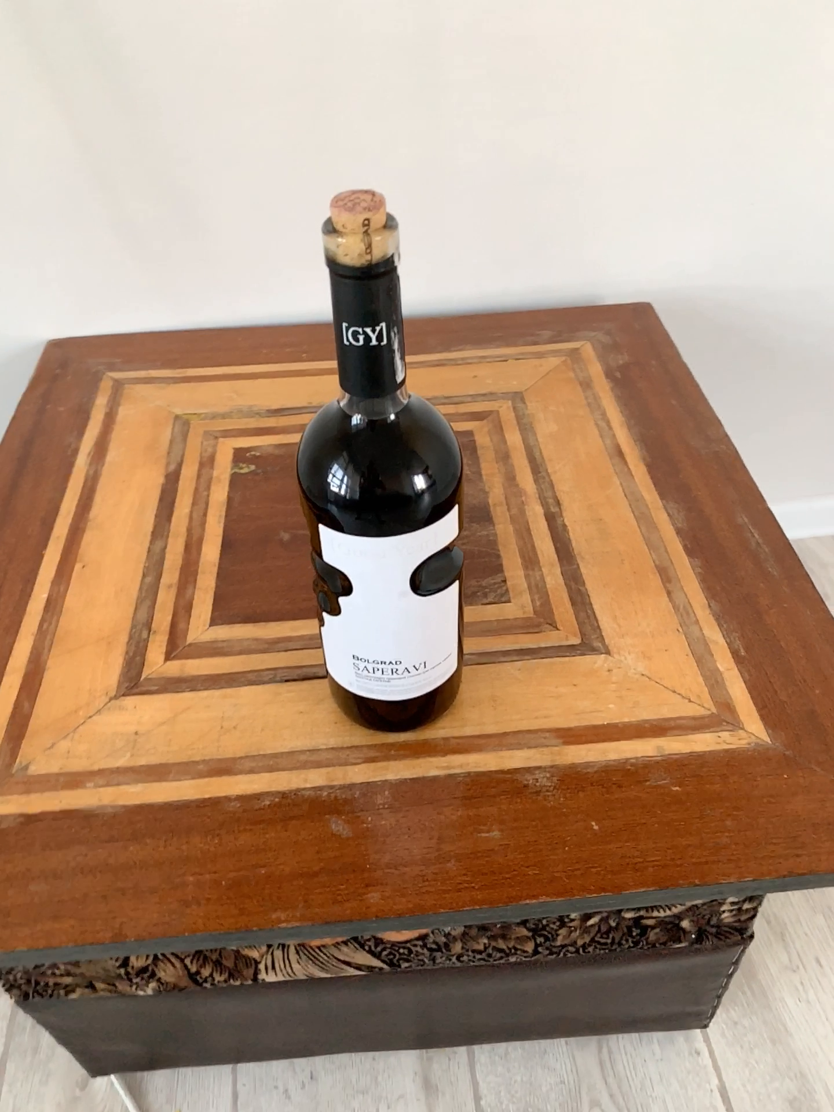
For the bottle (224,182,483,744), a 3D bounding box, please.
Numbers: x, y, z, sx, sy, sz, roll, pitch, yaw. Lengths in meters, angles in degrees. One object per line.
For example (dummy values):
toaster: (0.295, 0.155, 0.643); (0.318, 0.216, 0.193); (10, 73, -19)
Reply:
bottle: (-0.019, -0.027, 0.421); (0.090, 0.269, 0.090); (-2, 43, 1)
